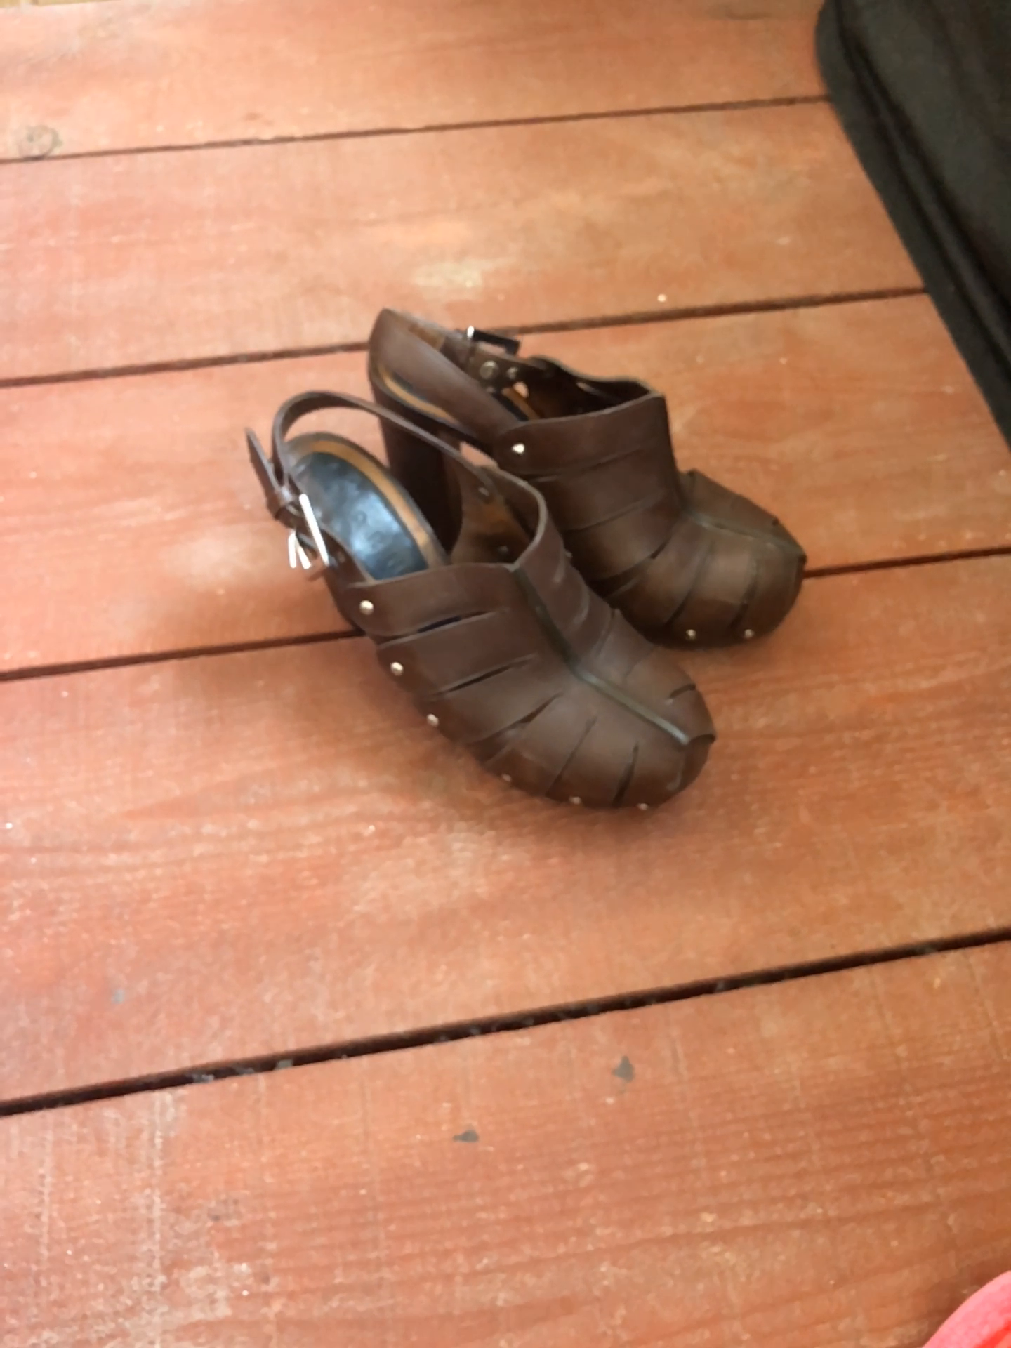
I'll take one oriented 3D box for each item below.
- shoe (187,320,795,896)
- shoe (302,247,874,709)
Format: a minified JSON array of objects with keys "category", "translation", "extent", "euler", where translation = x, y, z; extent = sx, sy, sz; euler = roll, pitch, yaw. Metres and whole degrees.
[{"category":"shoe","translation":[-0.011,-0.025,0.450],"extent":[0.210,0.120,0.080],"euler":[35,65,17]},{"category":"shoe","translation":[0.029,-0.082,0.479],"extent":[0.210,0.110,0.080],"euler":[19,48,5]}]
